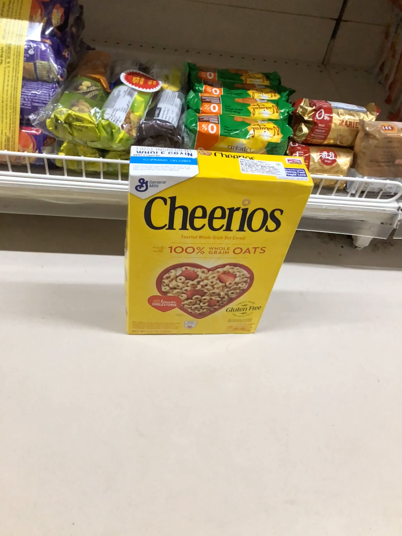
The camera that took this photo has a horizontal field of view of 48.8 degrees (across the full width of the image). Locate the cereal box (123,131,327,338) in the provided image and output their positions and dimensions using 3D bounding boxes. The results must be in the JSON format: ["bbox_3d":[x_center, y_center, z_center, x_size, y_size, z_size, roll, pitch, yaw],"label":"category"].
[{"bbox_3d":[0.006,-0.018,0.553,0.200,0.288,0.060,1,48,-9],"label":"cereal box"}]
